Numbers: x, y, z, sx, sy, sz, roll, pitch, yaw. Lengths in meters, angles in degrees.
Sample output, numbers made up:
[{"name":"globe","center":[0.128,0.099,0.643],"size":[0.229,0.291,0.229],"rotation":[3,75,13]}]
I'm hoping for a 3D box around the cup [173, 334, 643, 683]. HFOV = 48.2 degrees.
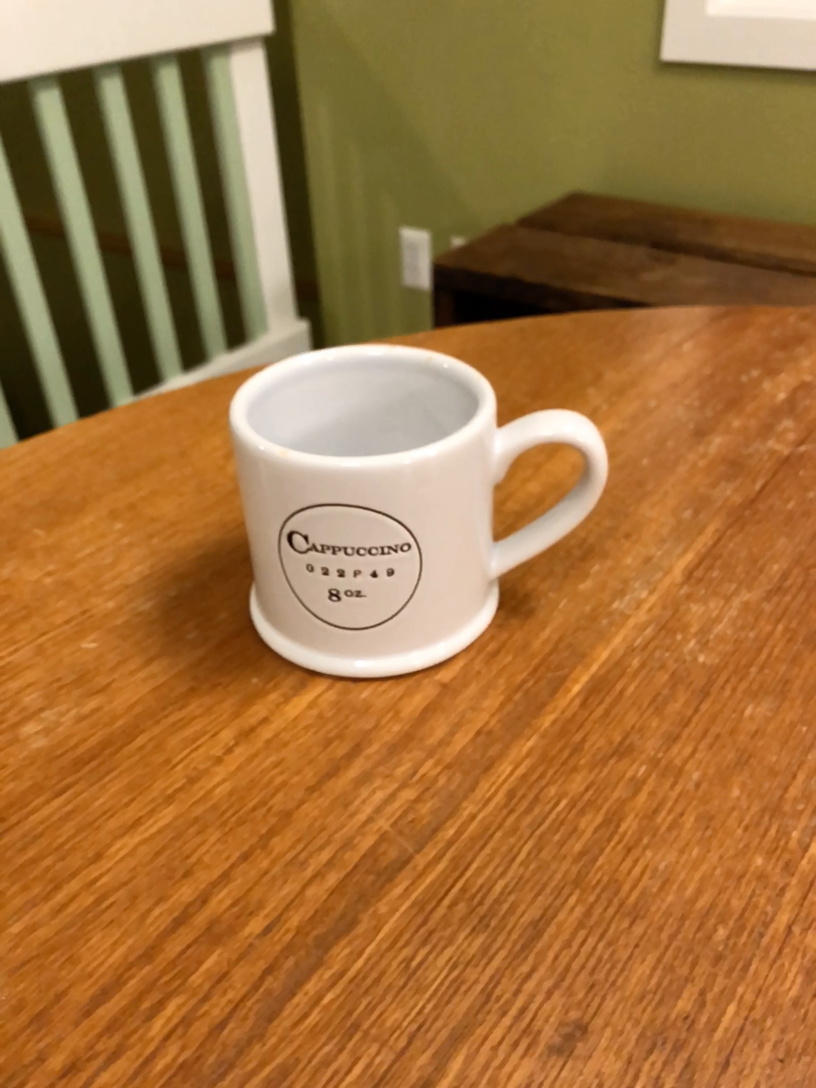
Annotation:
[{"name":"cup","center":[0.001,-0.015,0.322],"size":[0.135,0.082,0.090],"rotation":[-2,35,1]}]
